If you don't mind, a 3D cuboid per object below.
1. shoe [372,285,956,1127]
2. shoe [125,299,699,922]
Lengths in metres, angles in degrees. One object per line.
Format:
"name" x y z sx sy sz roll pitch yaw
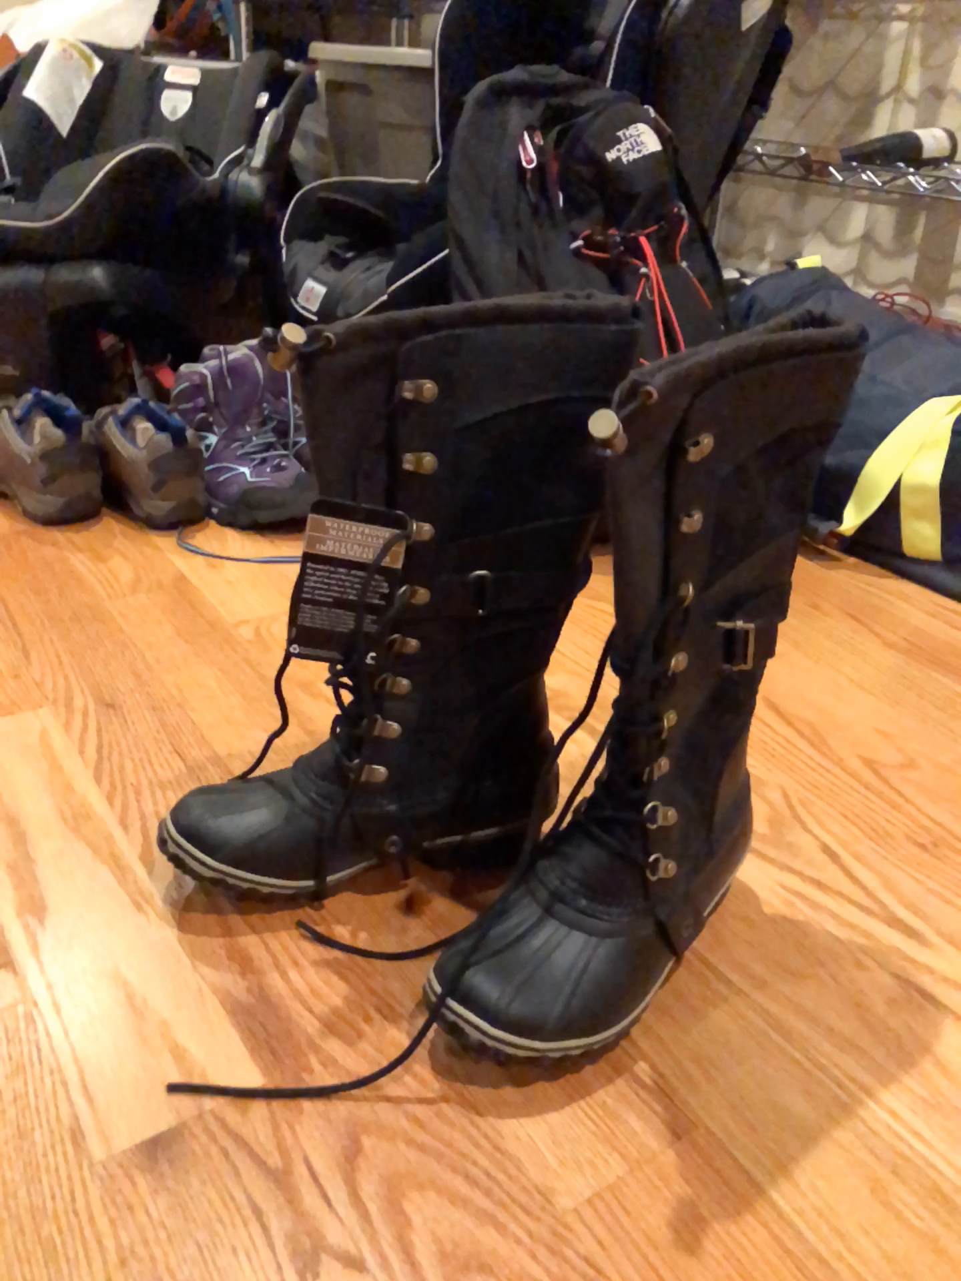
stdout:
"shoe" 0.083 0.017 0.512 0.261 0.328 0.100 -22 38 -40
"shoe" -0.044 -0.018 0.581 0.260 0.308 0.100 -5 29 -17
